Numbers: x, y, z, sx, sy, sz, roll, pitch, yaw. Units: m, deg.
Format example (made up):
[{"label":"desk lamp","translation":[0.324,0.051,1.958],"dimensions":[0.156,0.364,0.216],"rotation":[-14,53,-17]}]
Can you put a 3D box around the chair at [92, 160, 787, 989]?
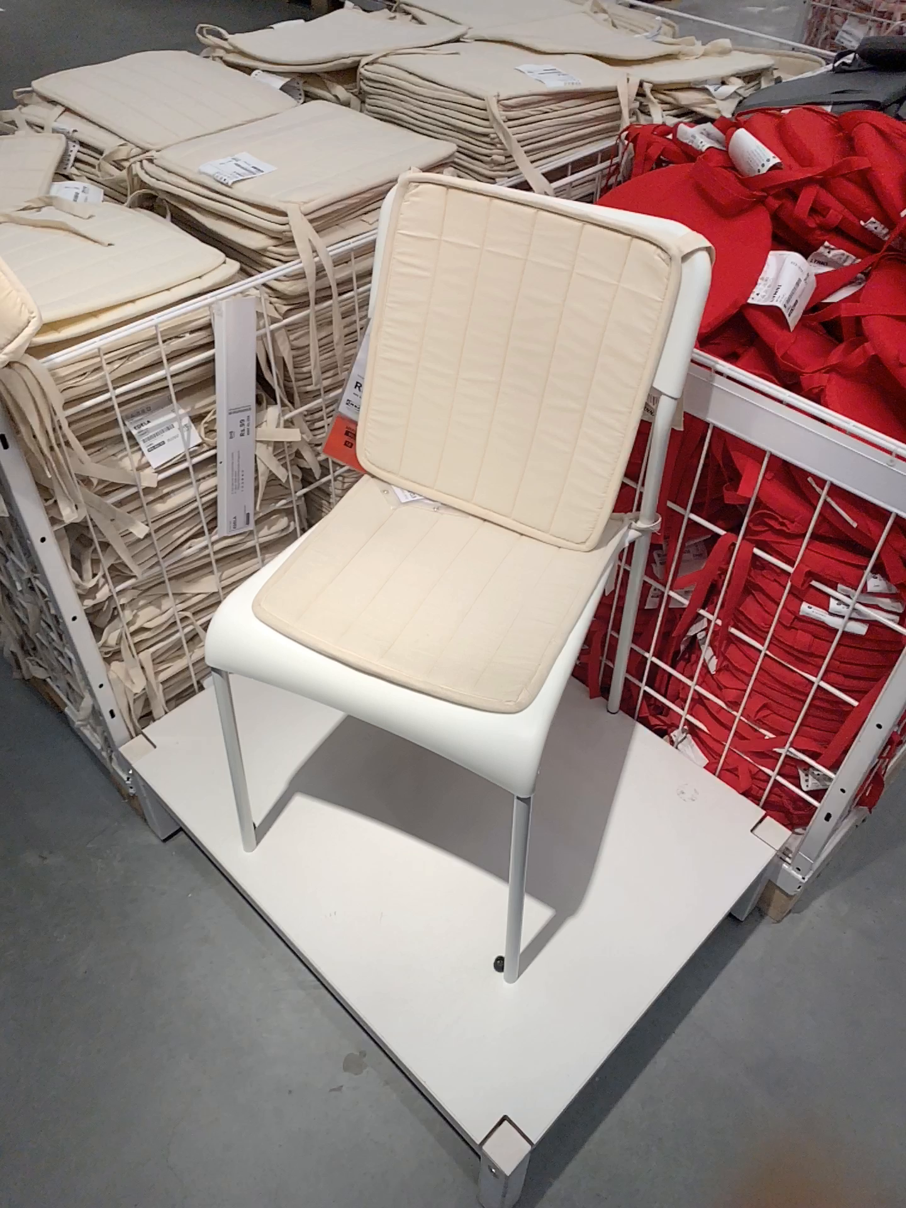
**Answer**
[{"label":"chair","translation":[0.016,-0.024,1.045],"dimensions":[0.430,0.697,0.481],"rotation":[20,47,18]}]
